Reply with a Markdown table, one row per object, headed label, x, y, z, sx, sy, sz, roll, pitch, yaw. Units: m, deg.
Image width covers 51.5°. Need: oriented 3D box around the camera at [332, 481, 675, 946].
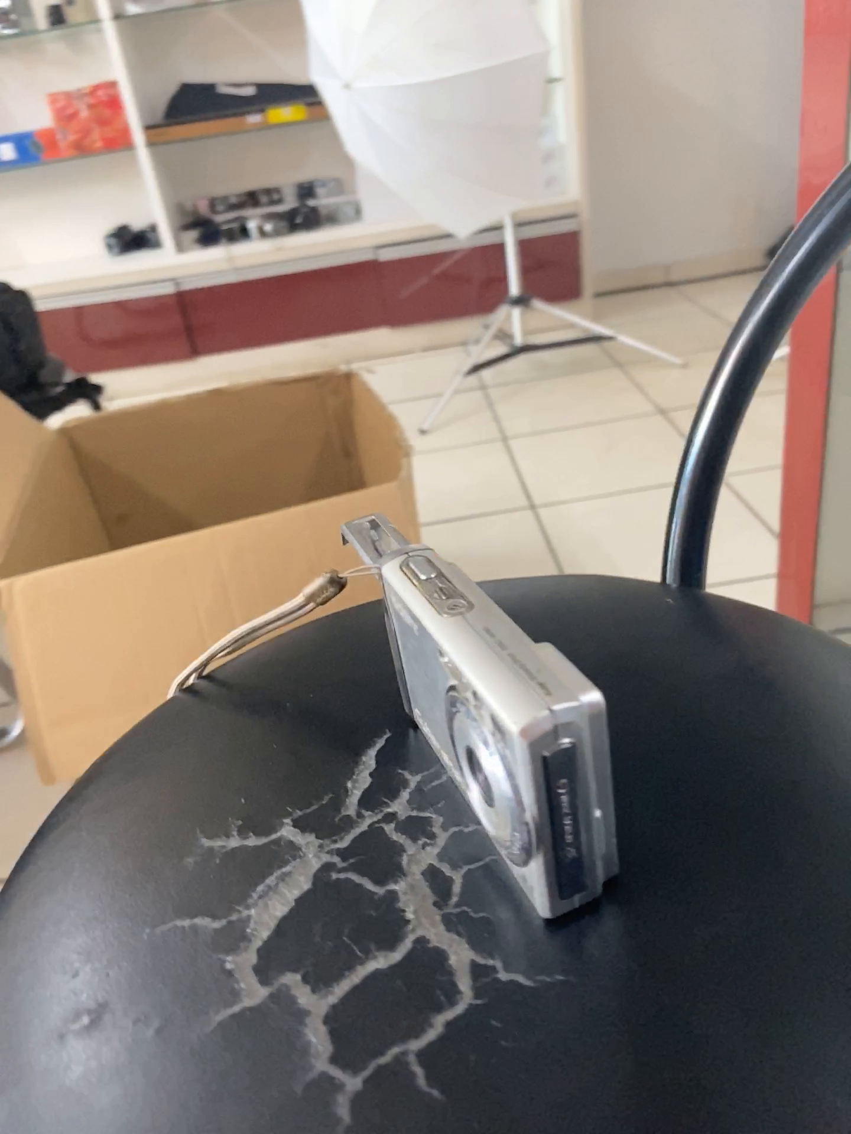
| label | x | y | z | sx | sy | sz | roll | pitch | yaw |
| --- | --- | --- | --- | --- | --- | --- | --- | --- | --- |
| camera | 0.013 | 0.027 | 0.240 | 0.030 | 0.053 | 0.136 | -18 | 31 | -15 |
